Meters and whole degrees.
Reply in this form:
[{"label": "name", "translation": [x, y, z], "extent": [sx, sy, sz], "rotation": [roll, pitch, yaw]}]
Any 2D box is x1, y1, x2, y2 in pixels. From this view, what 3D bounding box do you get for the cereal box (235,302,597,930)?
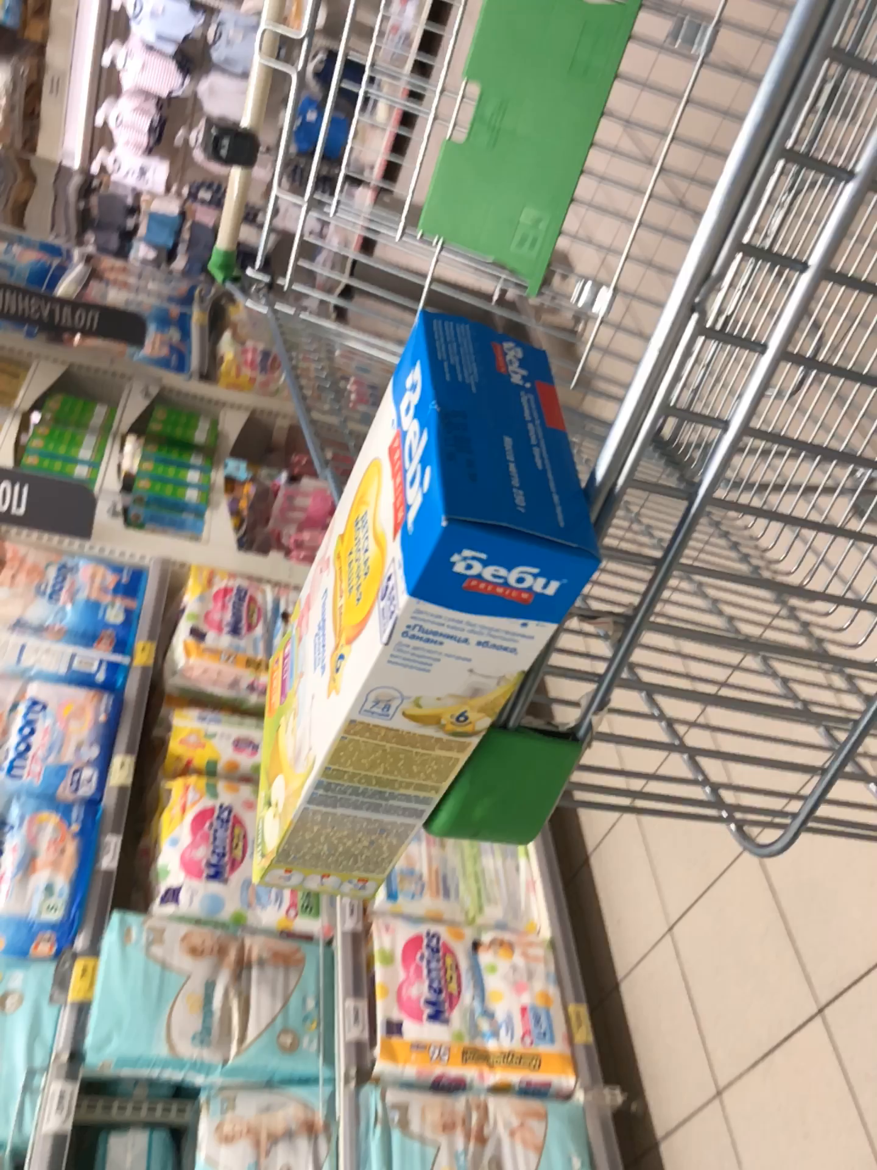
[{"label": "cereal box", "translation": [-0.021, 0.020, 0.374], "extent": [0.130, 0.050, 0.211], "rotation": [-93, 25, -47]}]
